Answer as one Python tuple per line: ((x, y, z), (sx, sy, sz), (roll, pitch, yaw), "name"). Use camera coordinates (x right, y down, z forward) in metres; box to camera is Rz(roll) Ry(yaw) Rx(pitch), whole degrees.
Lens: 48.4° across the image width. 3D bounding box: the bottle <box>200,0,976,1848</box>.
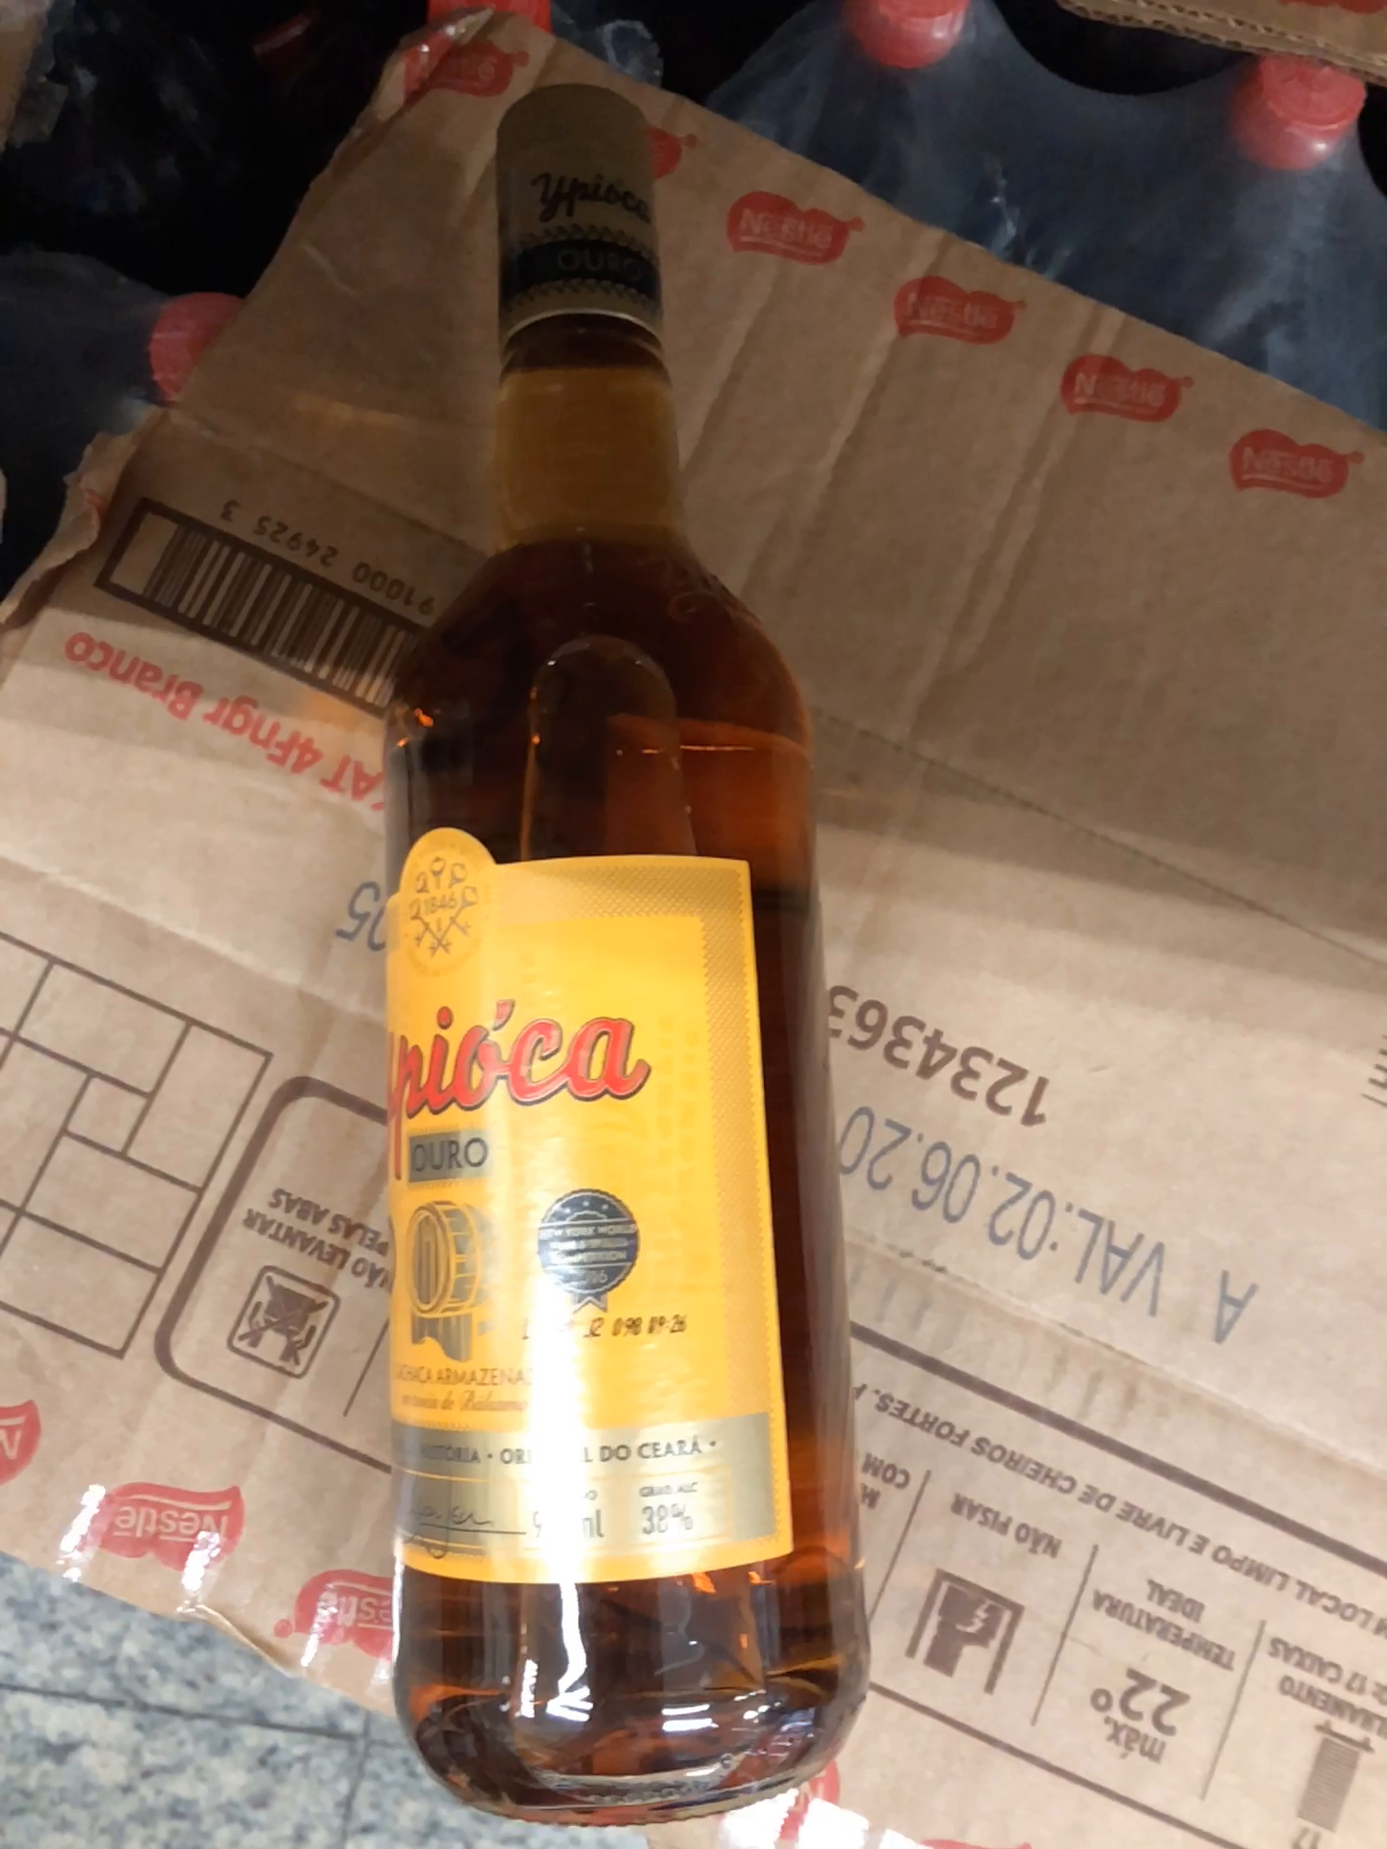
((-0.024, -0.023, 0.267), (0.090, 0.080, 0.310), (6, 77, -44), "bottle")
